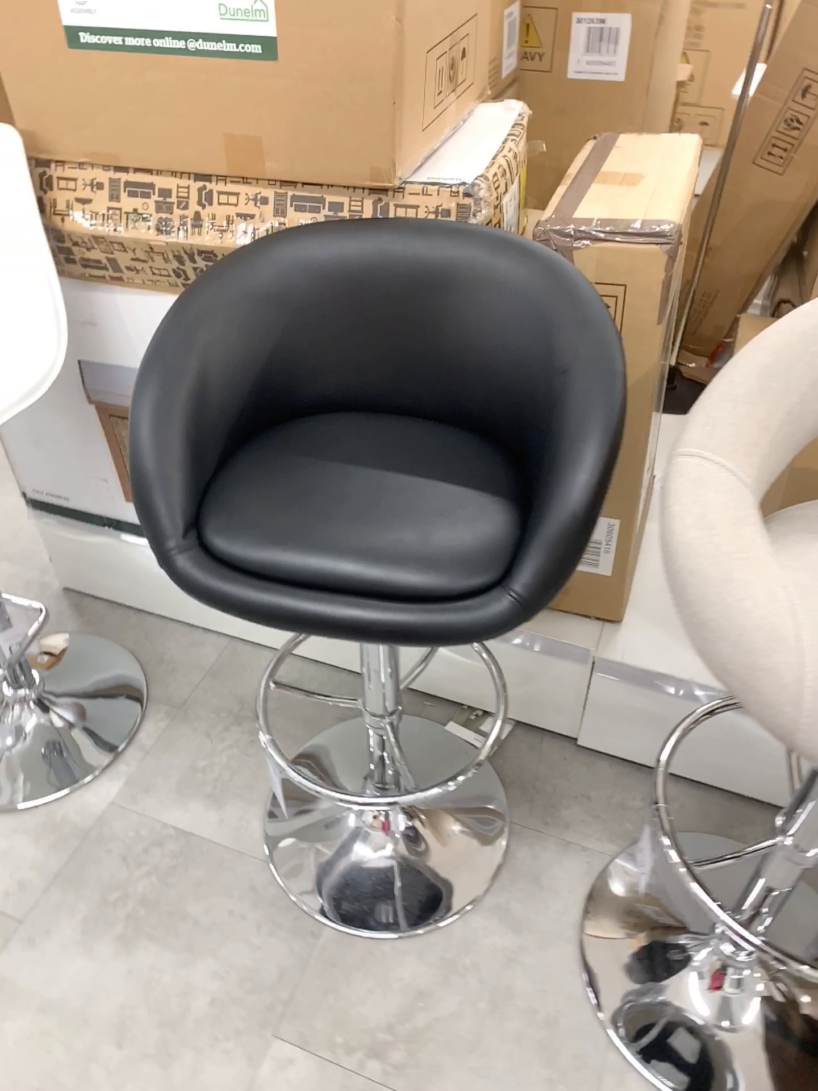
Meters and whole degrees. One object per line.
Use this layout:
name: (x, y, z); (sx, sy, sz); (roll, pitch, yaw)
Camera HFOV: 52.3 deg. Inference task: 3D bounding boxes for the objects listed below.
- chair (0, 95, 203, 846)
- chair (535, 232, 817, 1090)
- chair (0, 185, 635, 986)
chair: (-0.672, -0.063, 1.210); (0.444, 0.948, 0.444); (9, 41, 10)
chair: (0.425, 0.226, 0.883); (0.444, 0.918, 0.434); (9, 41, 10)
chair: (-0.046, 0.083, 1.062); (0.474, 0.869, 0.444); (11, 41, 12)
